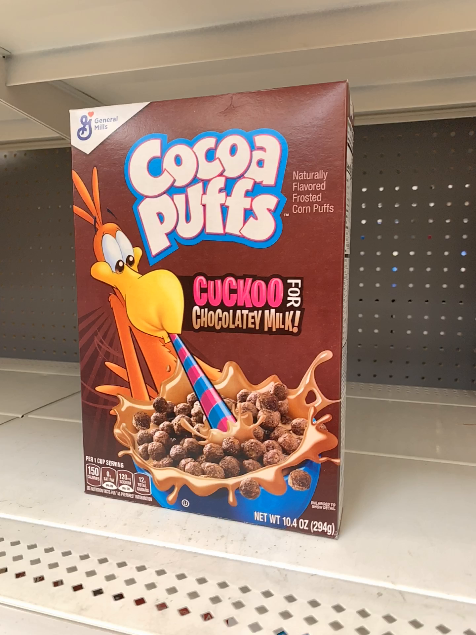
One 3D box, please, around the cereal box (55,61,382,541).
[{"bbox_3d":[-0.014,-0.008,0.322,0.200,0.260,0.050,2,7,19],"label":"cereal box"}]
